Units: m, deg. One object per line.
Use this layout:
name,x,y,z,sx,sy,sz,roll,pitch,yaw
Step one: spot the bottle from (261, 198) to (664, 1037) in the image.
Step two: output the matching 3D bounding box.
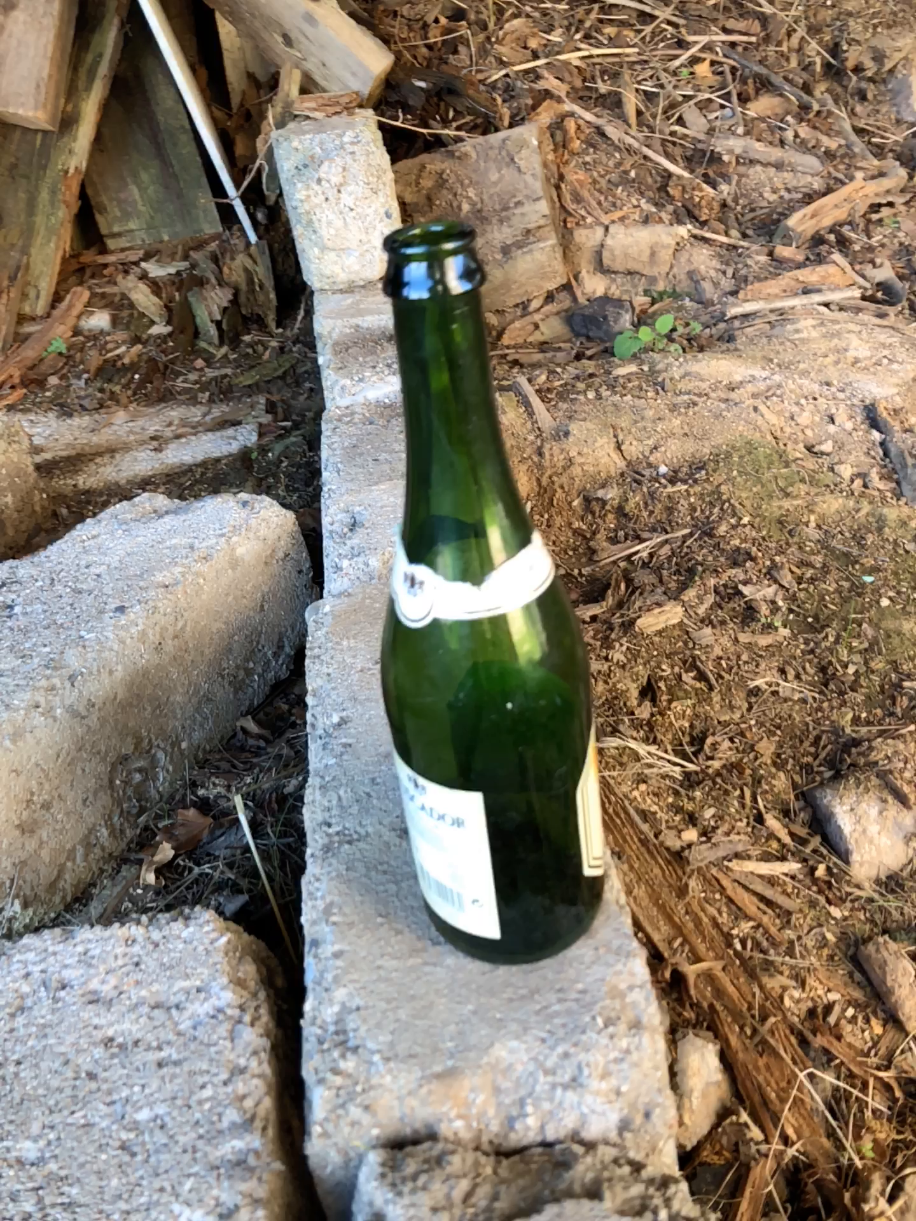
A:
bottle,0.010,0.011,0.374,0.090,0.288,0.090,-4,30,2
